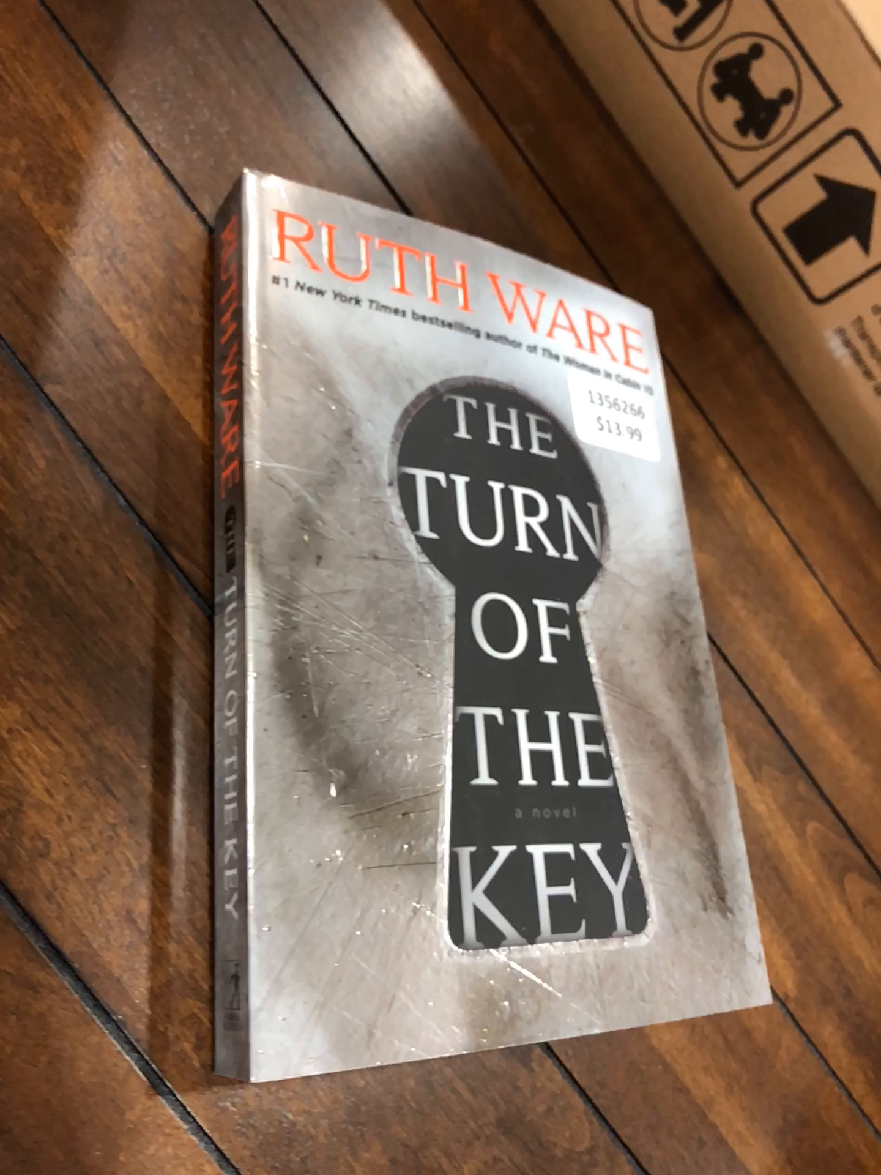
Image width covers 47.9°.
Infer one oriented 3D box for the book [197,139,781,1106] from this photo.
[{"bbox_3d":[0.013,0.004,0.282,0.158,0.028,0.232,9,67,-33],"label":"book"}]
